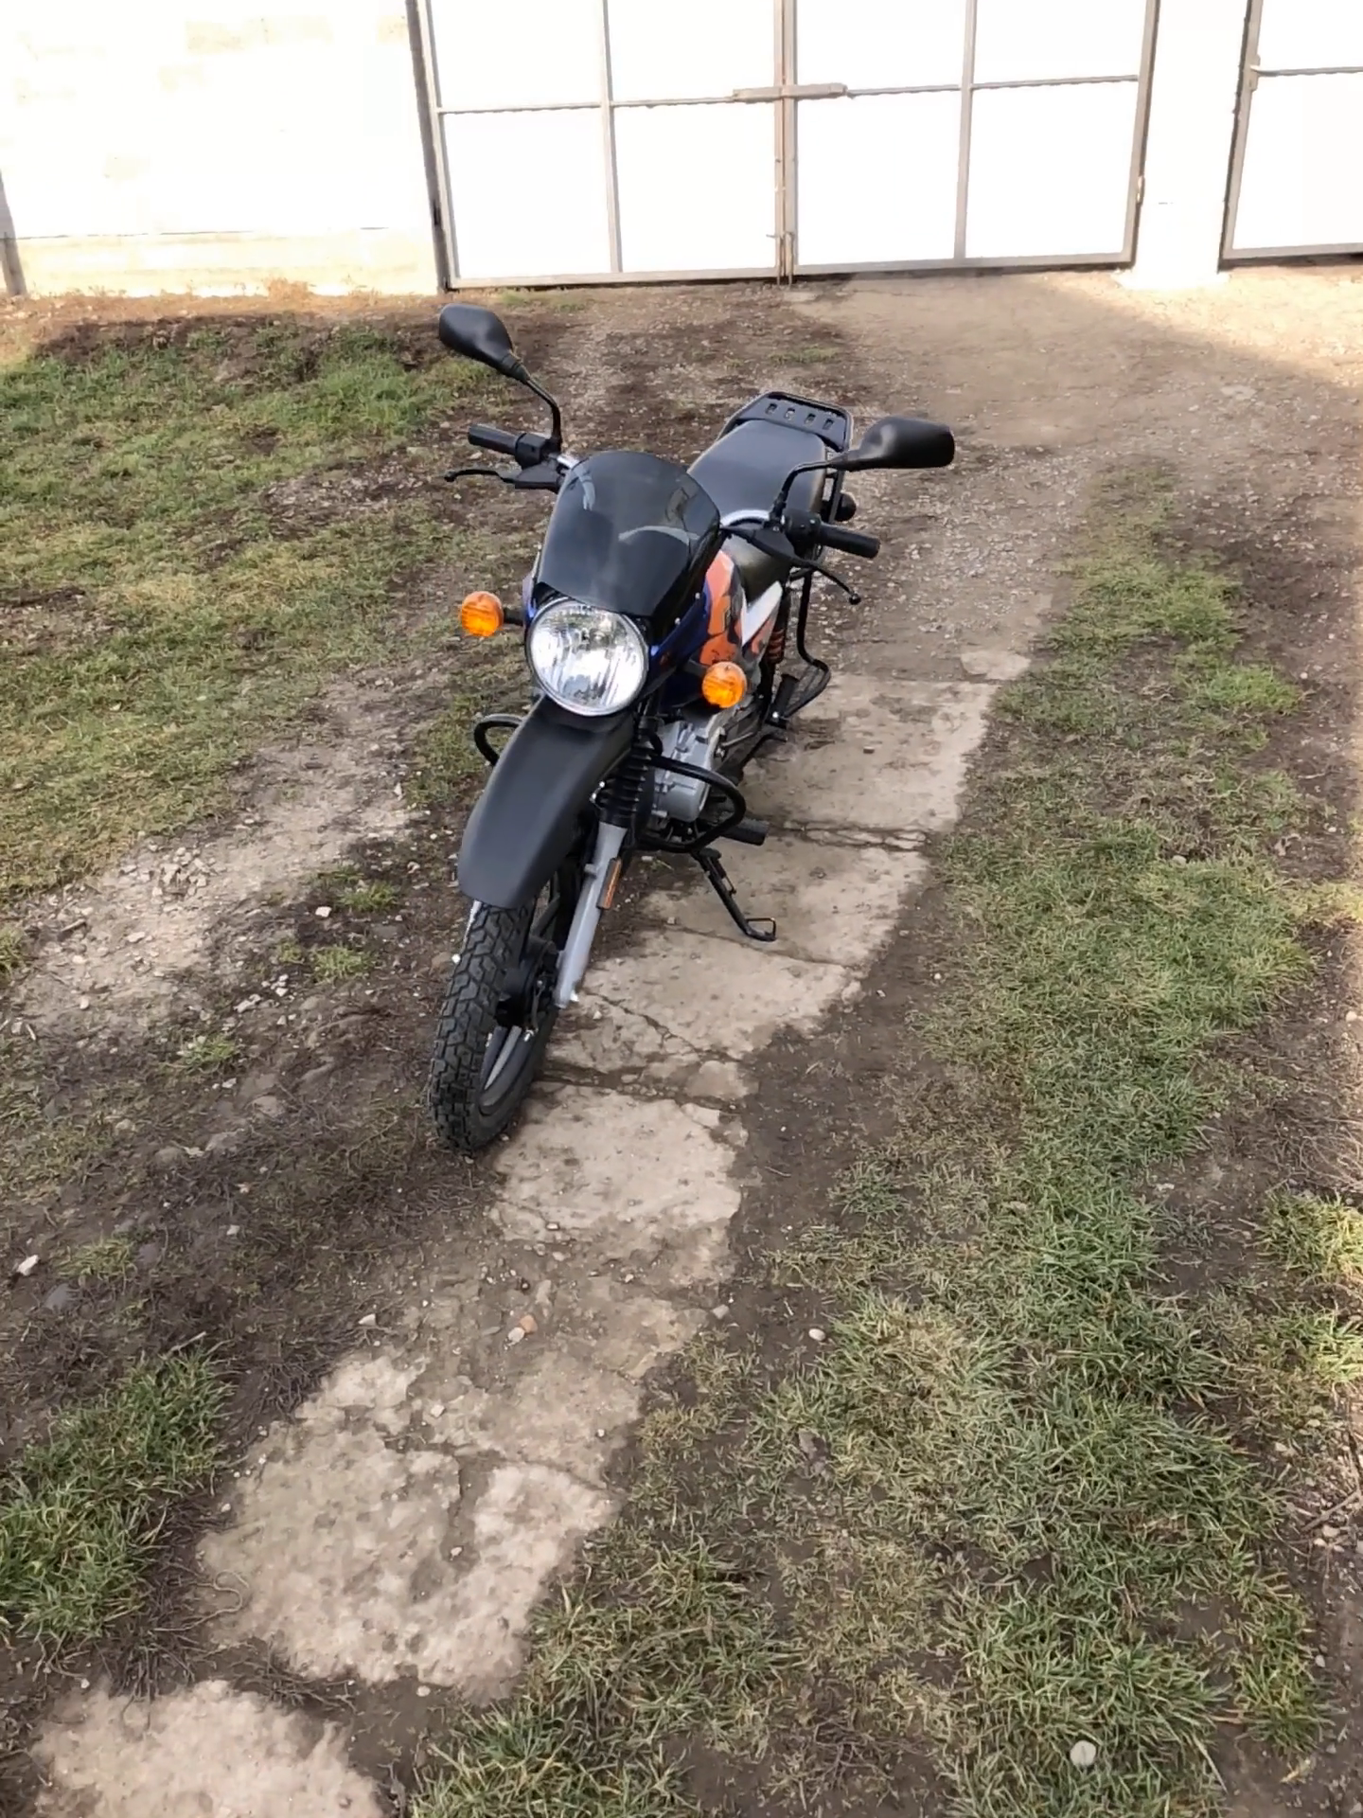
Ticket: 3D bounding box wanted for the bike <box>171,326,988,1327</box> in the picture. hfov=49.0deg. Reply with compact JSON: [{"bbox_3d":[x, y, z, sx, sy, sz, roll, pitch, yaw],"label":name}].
[{"bbox_3d":[0.009,-0.342,2.802,0.806,1.049,1.791,7,33,16],"label":"bike"}]
